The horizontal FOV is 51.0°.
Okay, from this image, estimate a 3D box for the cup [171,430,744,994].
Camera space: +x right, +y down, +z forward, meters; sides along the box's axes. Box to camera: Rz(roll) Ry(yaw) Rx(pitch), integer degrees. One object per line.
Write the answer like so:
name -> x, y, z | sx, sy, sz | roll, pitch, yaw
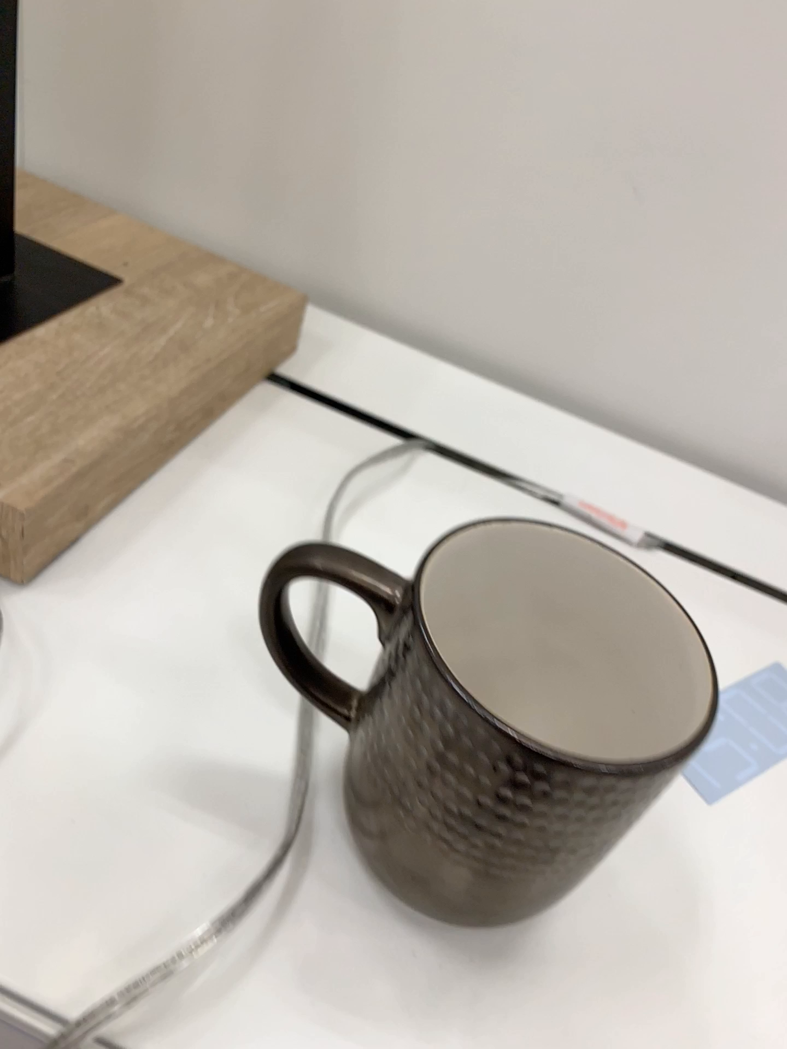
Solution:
cup -> 0.018, 0.055, 0.255 | 0.131, 0.093, 0.095 | 21, 39, 1
